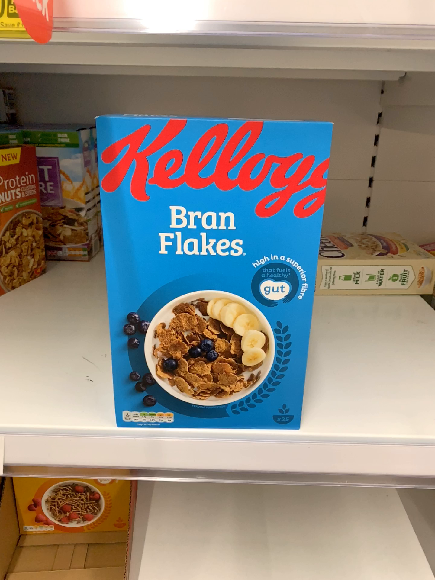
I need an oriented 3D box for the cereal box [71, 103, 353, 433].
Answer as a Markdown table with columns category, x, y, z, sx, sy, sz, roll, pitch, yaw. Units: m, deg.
| category | x | y | z | sx | sy | sz | roll | pitch | yaw |
| --- | --- | --- | --- | --- | --- | --- | --- | --- | --- |
| cereal box | -0.007 | -0.016 | 0.429 | 0.210 | 0.298 | 0.091 | 1 | 22 | -1 |
